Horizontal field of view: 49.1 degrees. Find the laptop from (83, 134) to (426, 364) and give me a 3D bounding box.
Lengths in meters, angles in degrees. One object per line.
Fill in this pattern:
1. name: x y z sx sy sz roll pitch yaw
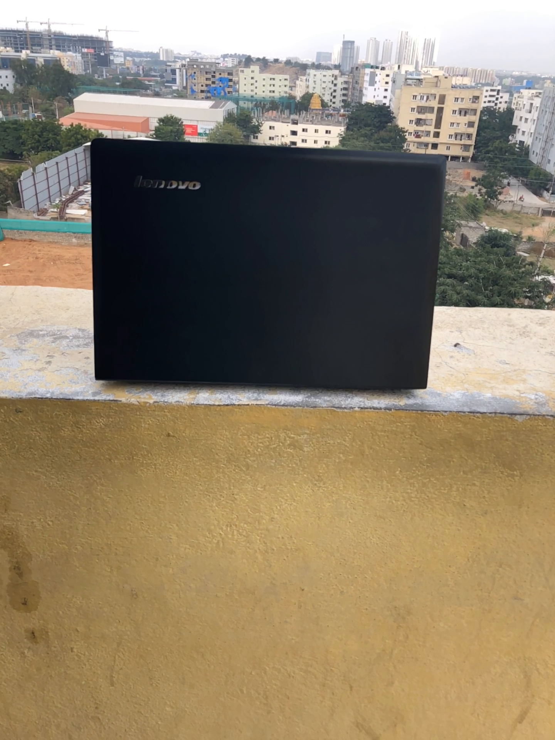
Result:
1. laptop: -0.029 -0.161 0.751 0.333 0.223 0.246 1 26 -1
